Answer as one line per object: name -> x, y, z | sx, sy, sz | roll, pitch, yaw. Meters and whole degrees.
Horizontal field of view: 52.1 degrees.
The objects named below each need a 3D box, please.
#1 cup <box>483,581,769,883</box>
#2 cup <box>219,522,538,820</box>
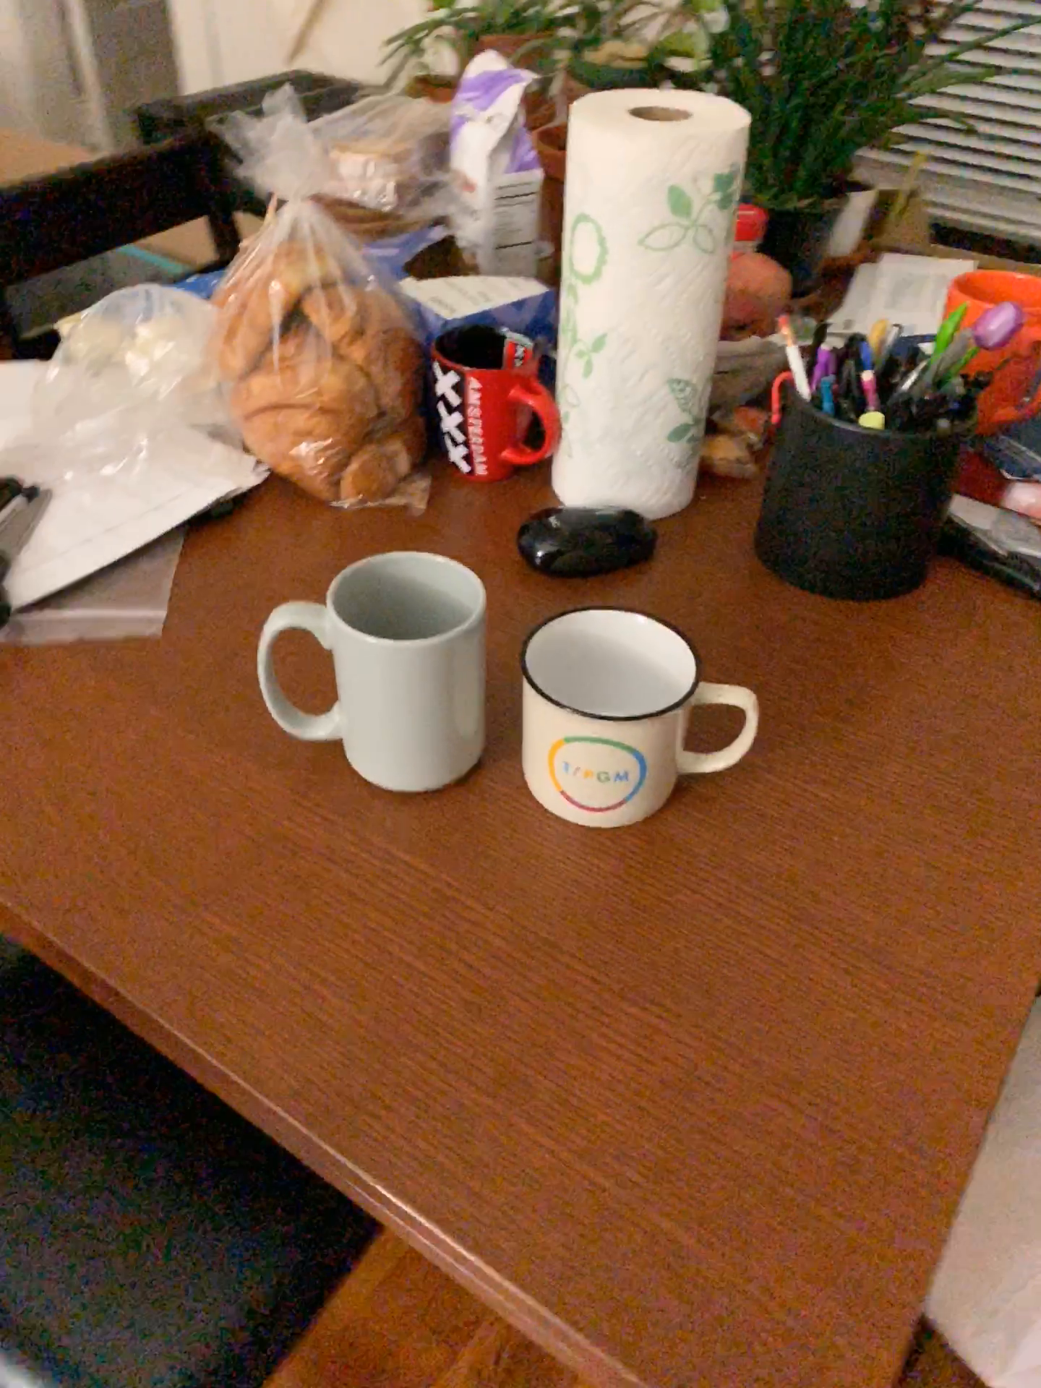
cup -> 0.057, 0.019, 0.590 | 0.130, 0.099, 0.100 | 13, 42, 12
cup -> -0.073, -0.015, 0.597 | 0.140, 0.099, 0.100 | 13, 42, 12
